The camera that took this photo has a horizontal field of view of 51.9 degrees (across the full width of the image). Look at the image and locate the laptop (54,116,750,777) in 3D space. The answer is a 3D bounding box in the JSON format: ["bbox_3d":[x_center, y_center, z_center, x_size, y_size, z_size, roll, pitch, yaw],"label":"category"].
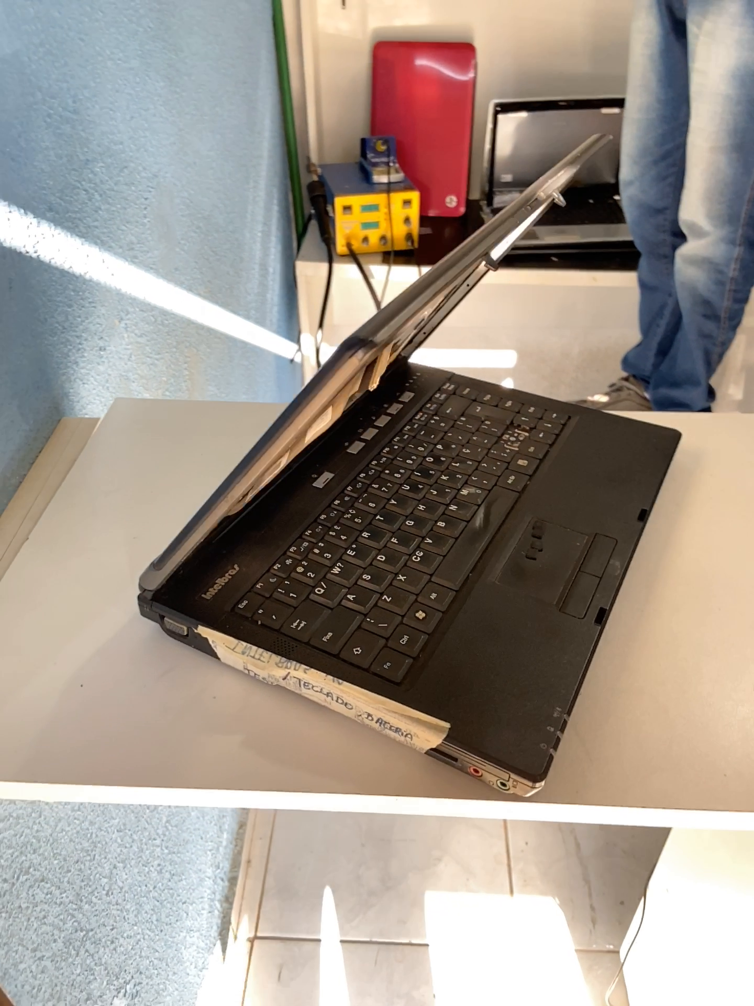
[{"bbox_3d":[0.045,-0.075,0.445,0.231,0.191,0.324,18,41,22],"label":"laptop"}]
